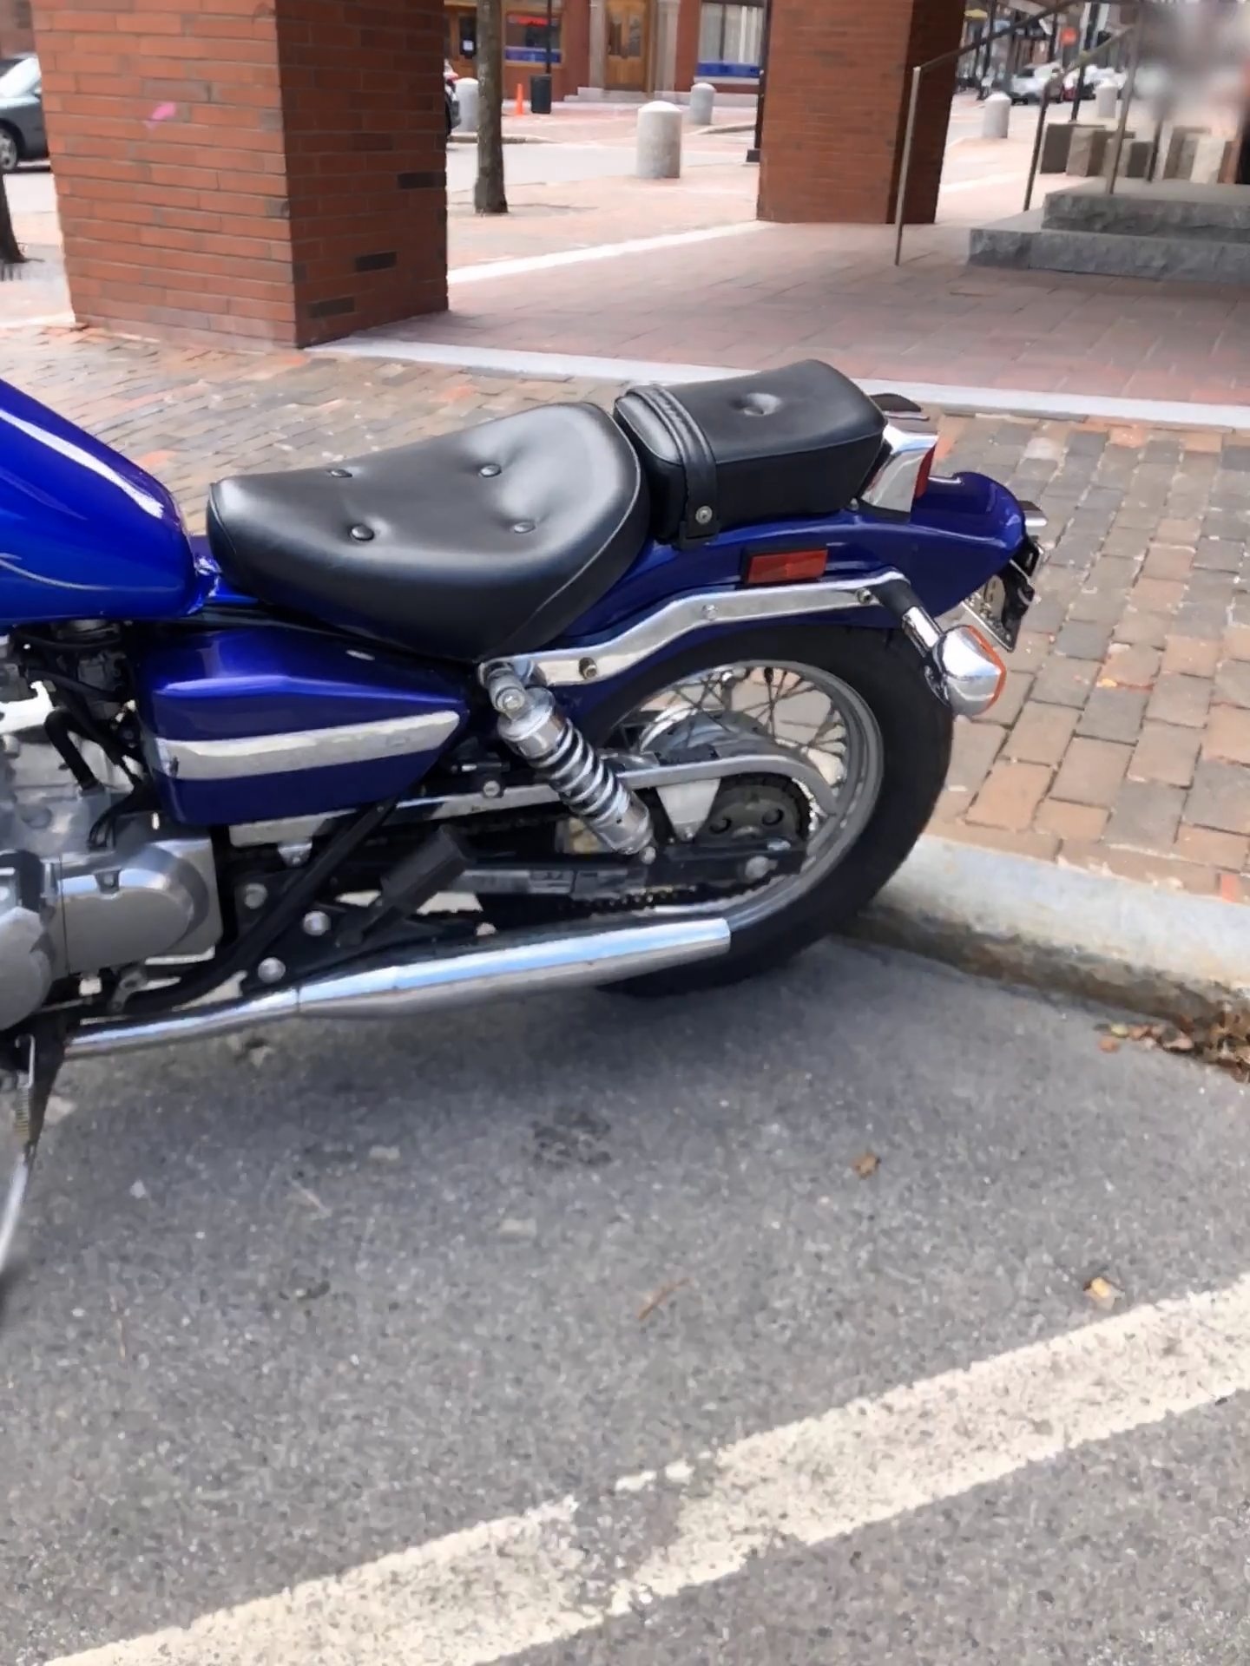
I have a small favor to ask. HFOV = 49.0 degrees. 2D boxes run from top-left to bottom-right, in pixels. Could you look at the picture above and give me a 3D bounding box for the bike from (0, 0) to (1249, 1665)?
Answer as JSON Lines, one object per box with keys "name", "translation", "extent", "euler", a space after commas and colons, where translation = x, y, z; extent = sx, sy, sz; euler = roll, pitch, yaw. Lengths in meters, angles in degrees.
{"name": "bike", "translation": [-0.409, -0.094, 1.062], "extent": [2.029, 1.178, 0.928], "euler": [-9, 30, -27]}
